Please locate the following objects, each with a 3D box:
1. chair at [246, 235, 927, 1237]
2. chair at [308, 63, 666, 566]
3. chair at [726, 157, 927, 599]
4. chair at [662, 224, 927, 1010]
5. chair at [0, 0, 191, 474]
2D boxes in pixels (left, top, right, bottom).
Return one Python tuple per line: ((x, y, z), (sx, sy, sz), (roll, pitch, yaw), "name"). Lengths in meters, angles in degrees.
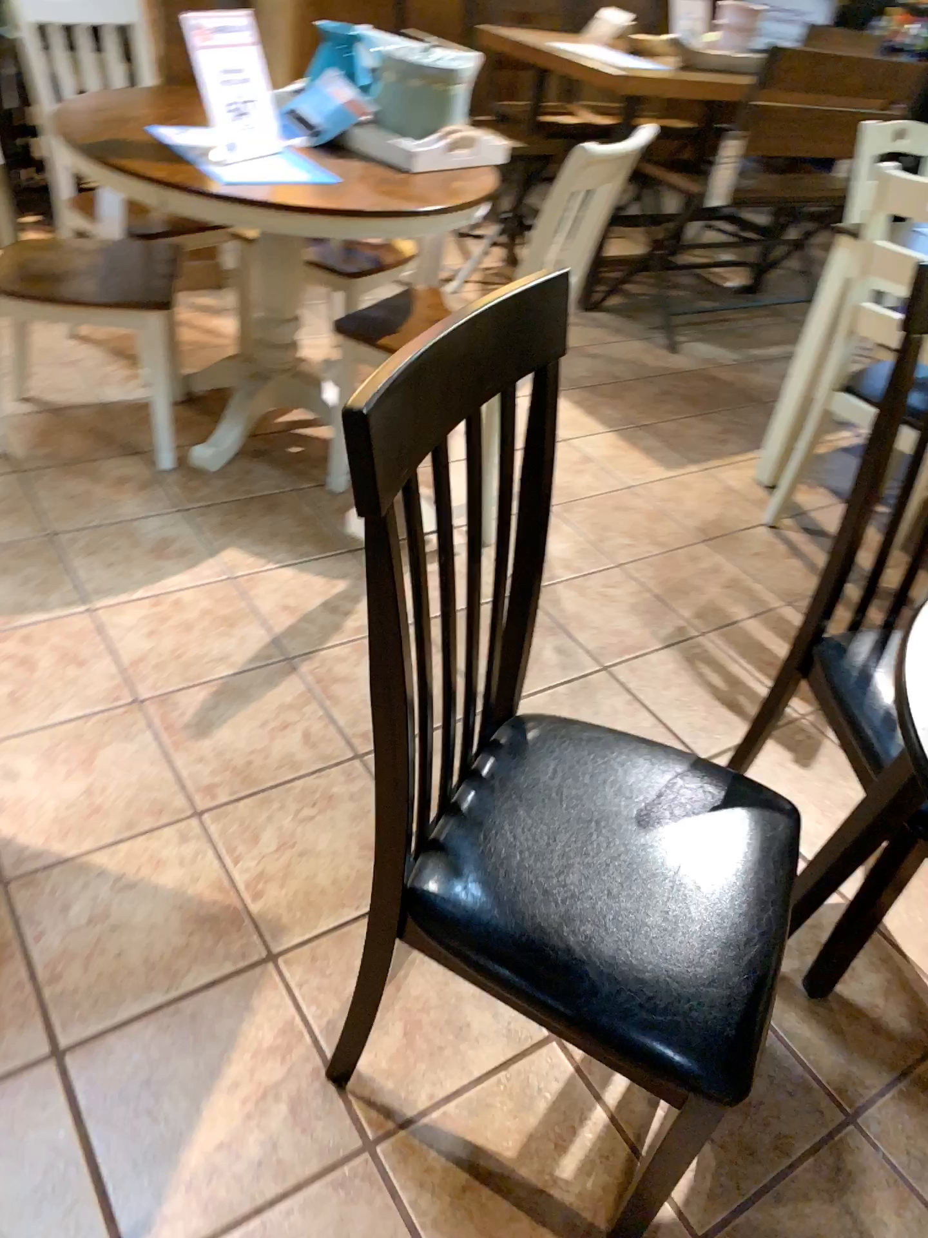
((0.131, 0.171, 1.039), (0.561, 0.923, 0.456), (21, 38, 15), "chair")
((0.021, -0.688, 2.159), (0.541, 0.893, 0.466), (22, 39, 16), "chair")
((1.102, -0.579, 2.295), (0.542, 0.893, 0.405), (-15, 44, -30), "chair")
((0.679, 0.022, 1.342), (0.384, 0.933, 0.544), (-2, 38, -15), "chair")
((-0.917, -0.835, 2.123), (0.541, 0.903, 0.416), (0, 38, -13), "chair")
